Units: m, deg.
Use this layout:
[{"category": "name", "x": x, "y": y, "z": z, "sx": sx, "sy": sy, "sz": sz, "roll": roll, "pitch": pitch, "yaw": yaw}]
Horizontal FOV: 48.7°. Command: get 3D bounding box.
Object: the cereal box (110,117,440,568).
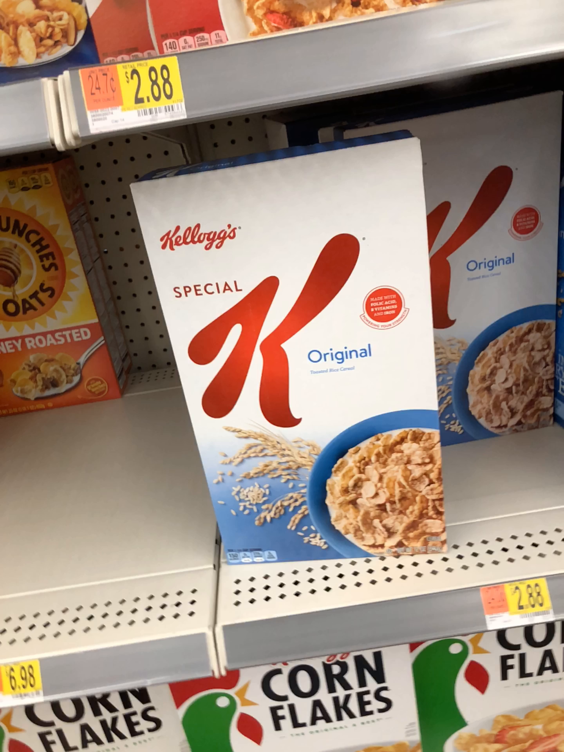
[{"category": "cereal box", "x": 0.013, "y": -0.009, "z": 0.489, "sx": 0.190, "sy": 0.329, "sz": 0.080, "roll": -6, "pitch": 25, "yaw": 9}]
